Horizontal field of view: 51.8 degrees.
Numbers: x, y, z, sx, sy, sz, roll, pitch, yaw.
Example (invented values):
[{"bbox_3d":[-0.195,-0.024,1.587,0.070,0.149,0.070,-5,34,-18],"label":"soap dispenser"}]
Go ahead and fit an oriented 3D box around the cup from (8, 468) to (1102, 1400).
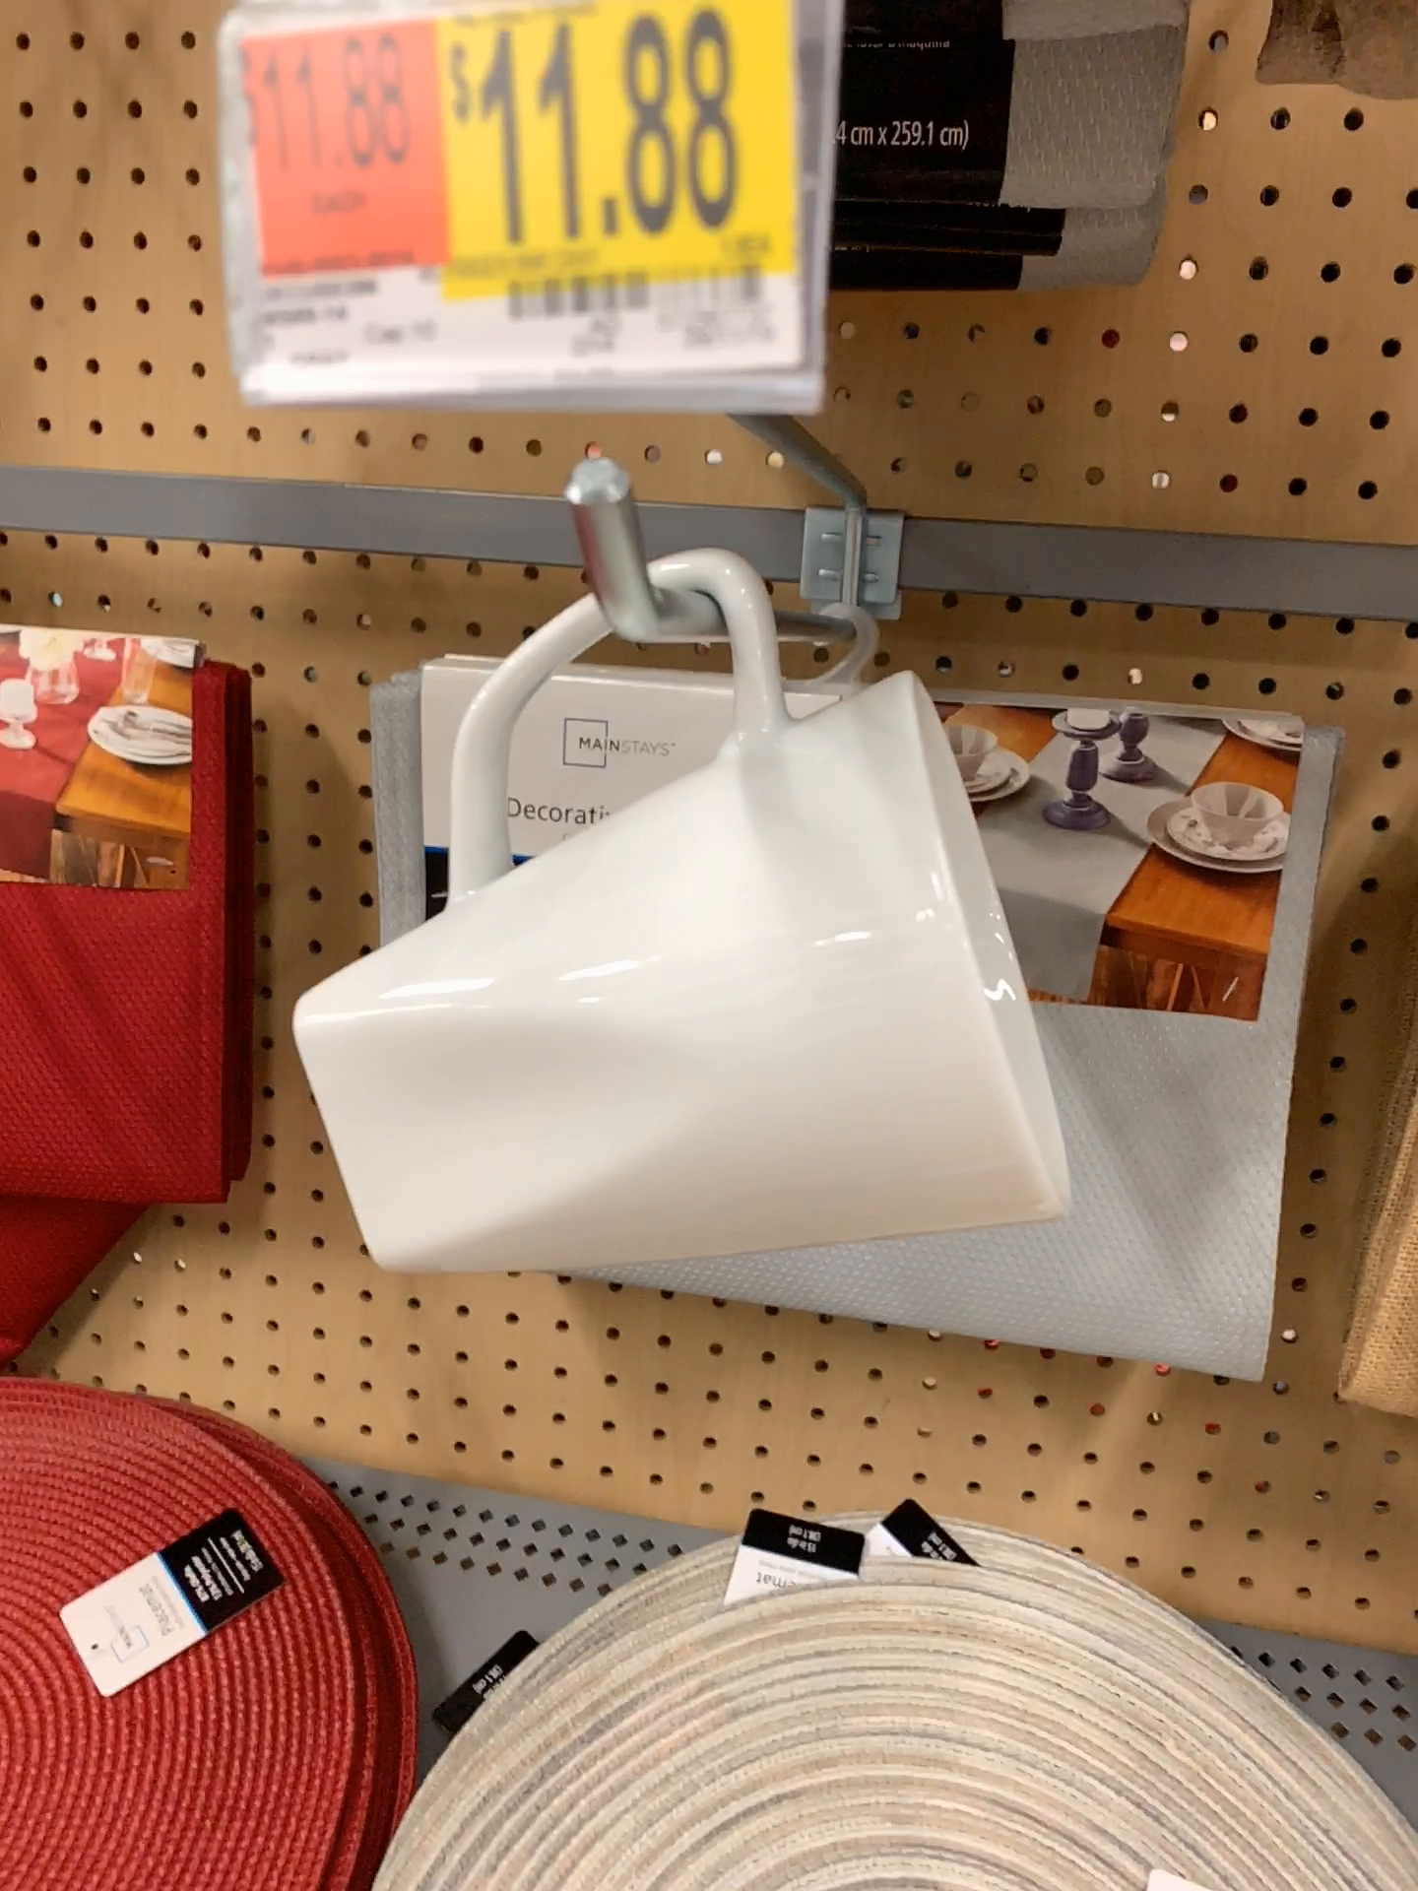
[{"bbox_3d":[-0.014,-0.004,0.250,0.140,0.120,0.090,-7,13,15],"label":"cup"}]
